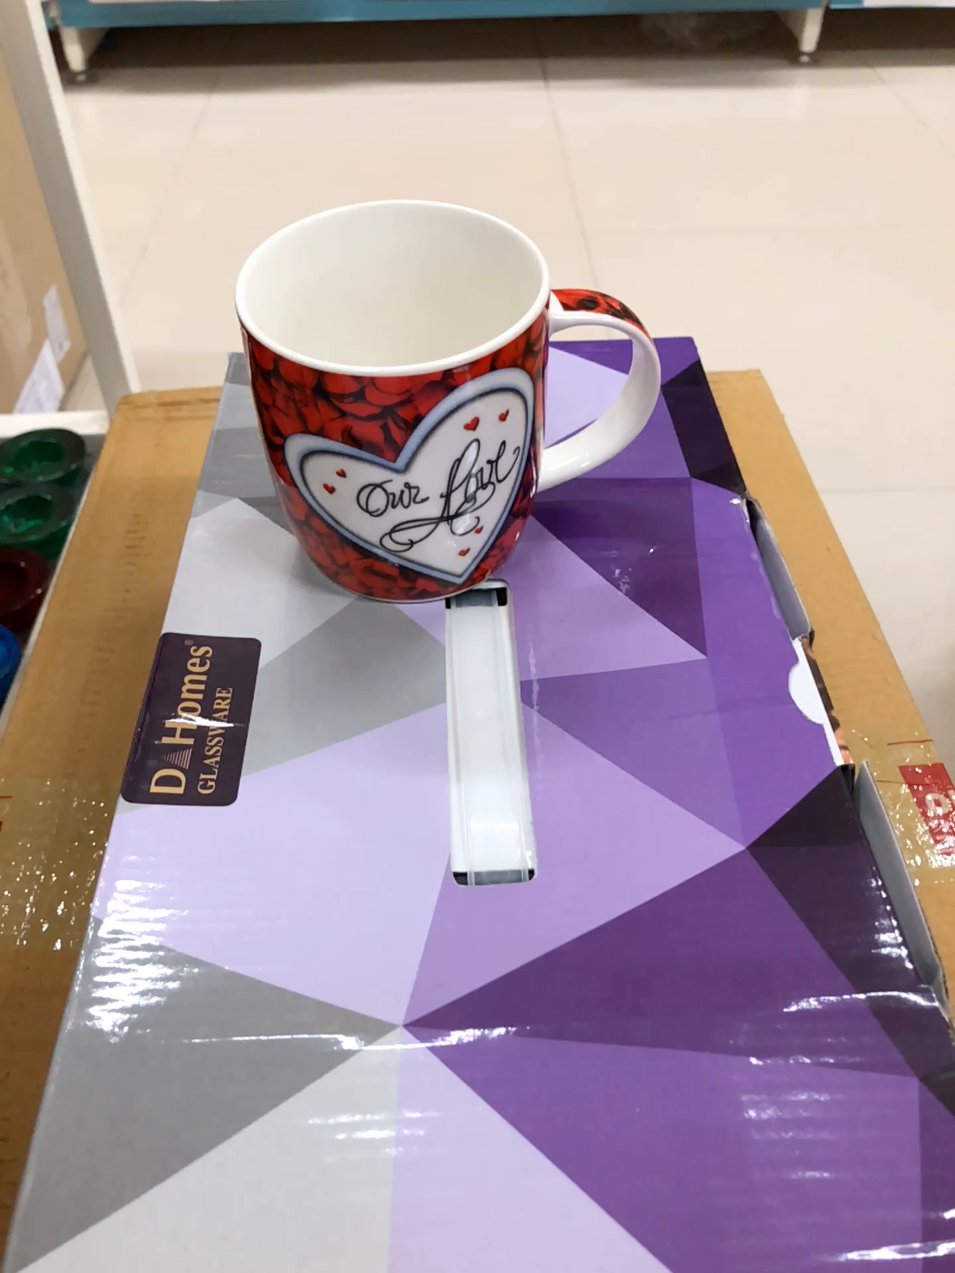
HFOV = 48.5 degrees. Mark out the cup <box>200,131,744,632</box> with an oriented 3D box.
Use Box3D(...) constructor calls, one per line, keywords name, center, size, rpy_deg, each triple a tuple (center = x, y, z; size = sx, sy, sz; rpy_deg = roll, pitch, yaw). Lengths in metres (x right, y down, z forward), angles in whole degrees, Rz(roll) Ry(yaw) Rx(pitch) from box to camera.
Box3D(name="cup", center=(-0.006, -0.080, 0.324), size=(0.130, 0.099, 0.090), rpy_deg=(-11, 45, -10))
